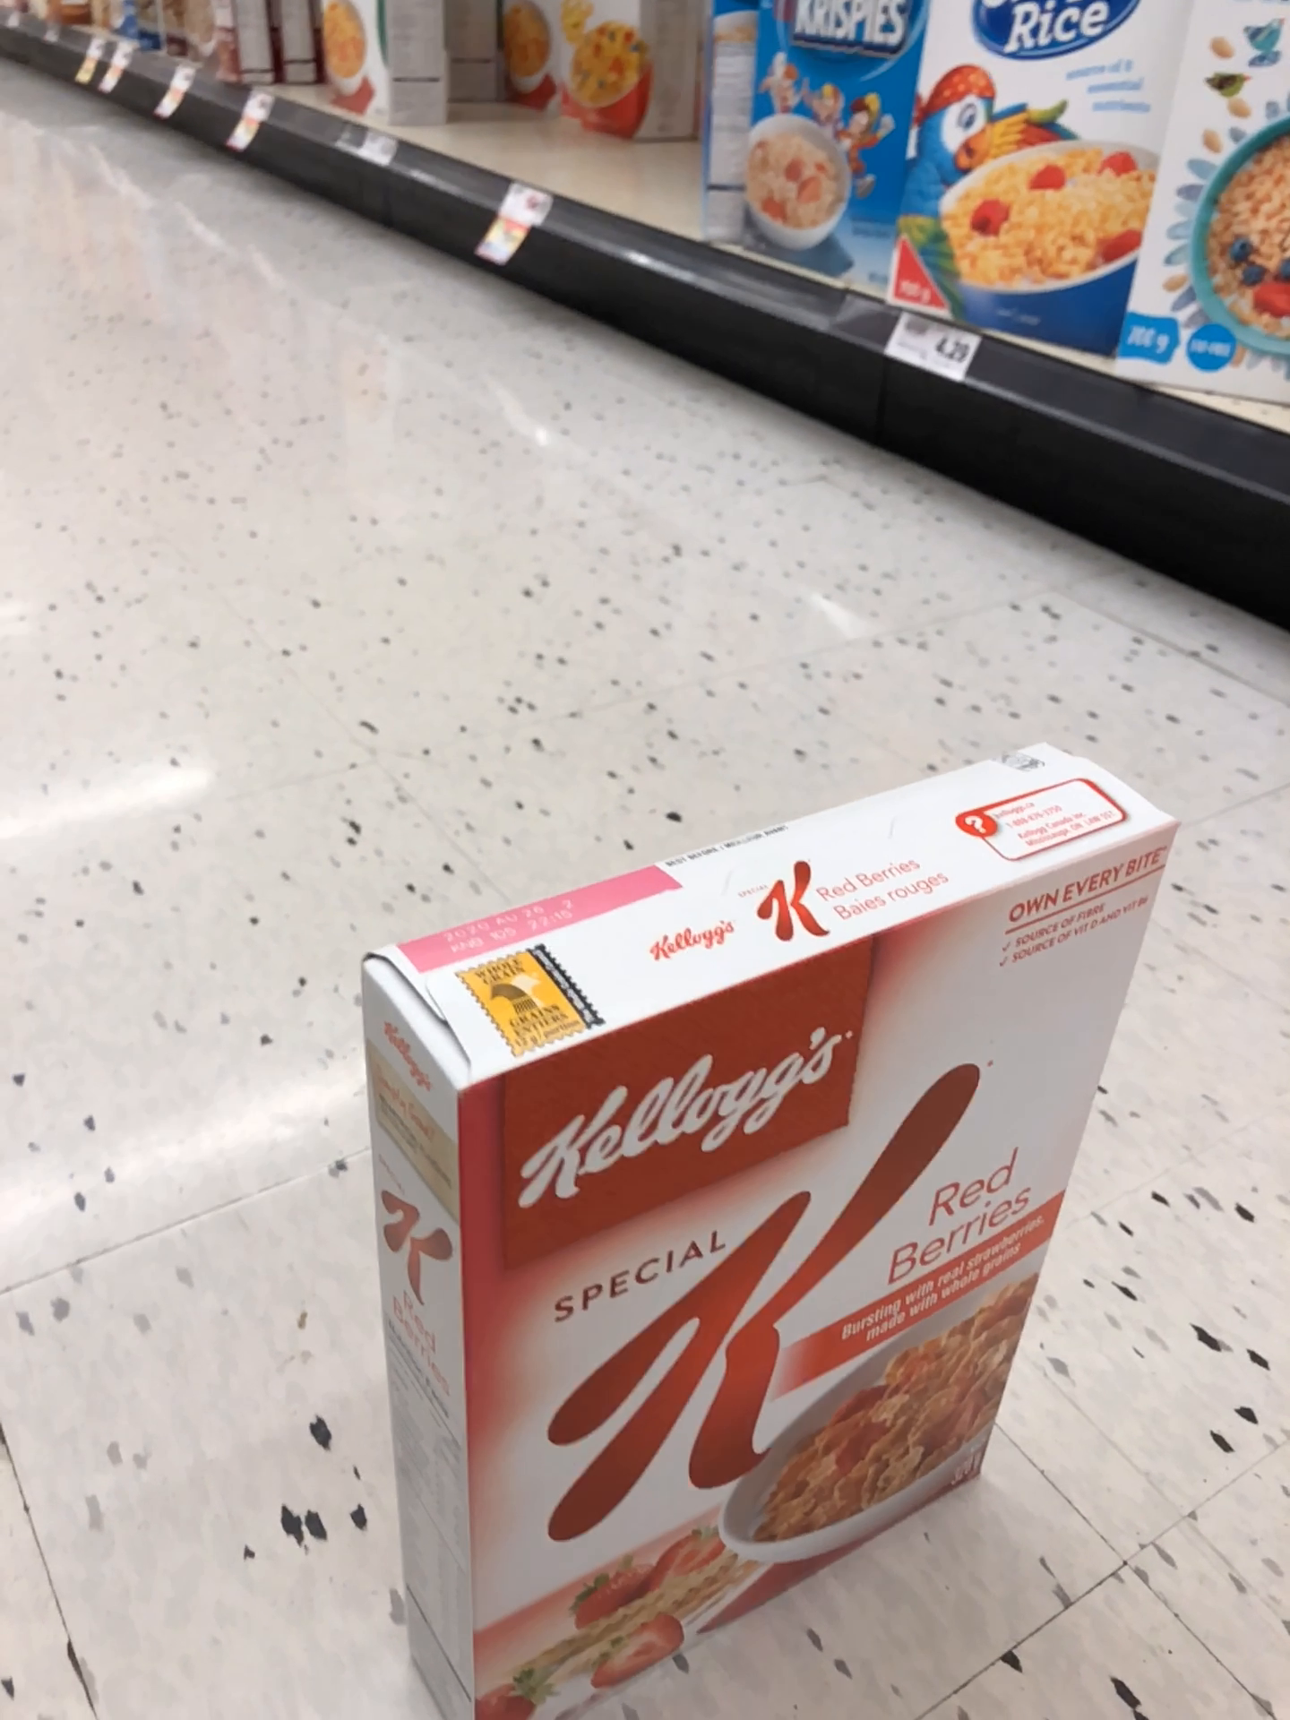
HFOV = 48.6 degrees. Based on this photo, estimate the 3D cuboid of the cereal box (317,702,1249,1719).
[{"bbox_3d":[0.033,0.107,0.383,0.210,0.258,0.060,-17,38,-28],"label":"cereal box"}]
